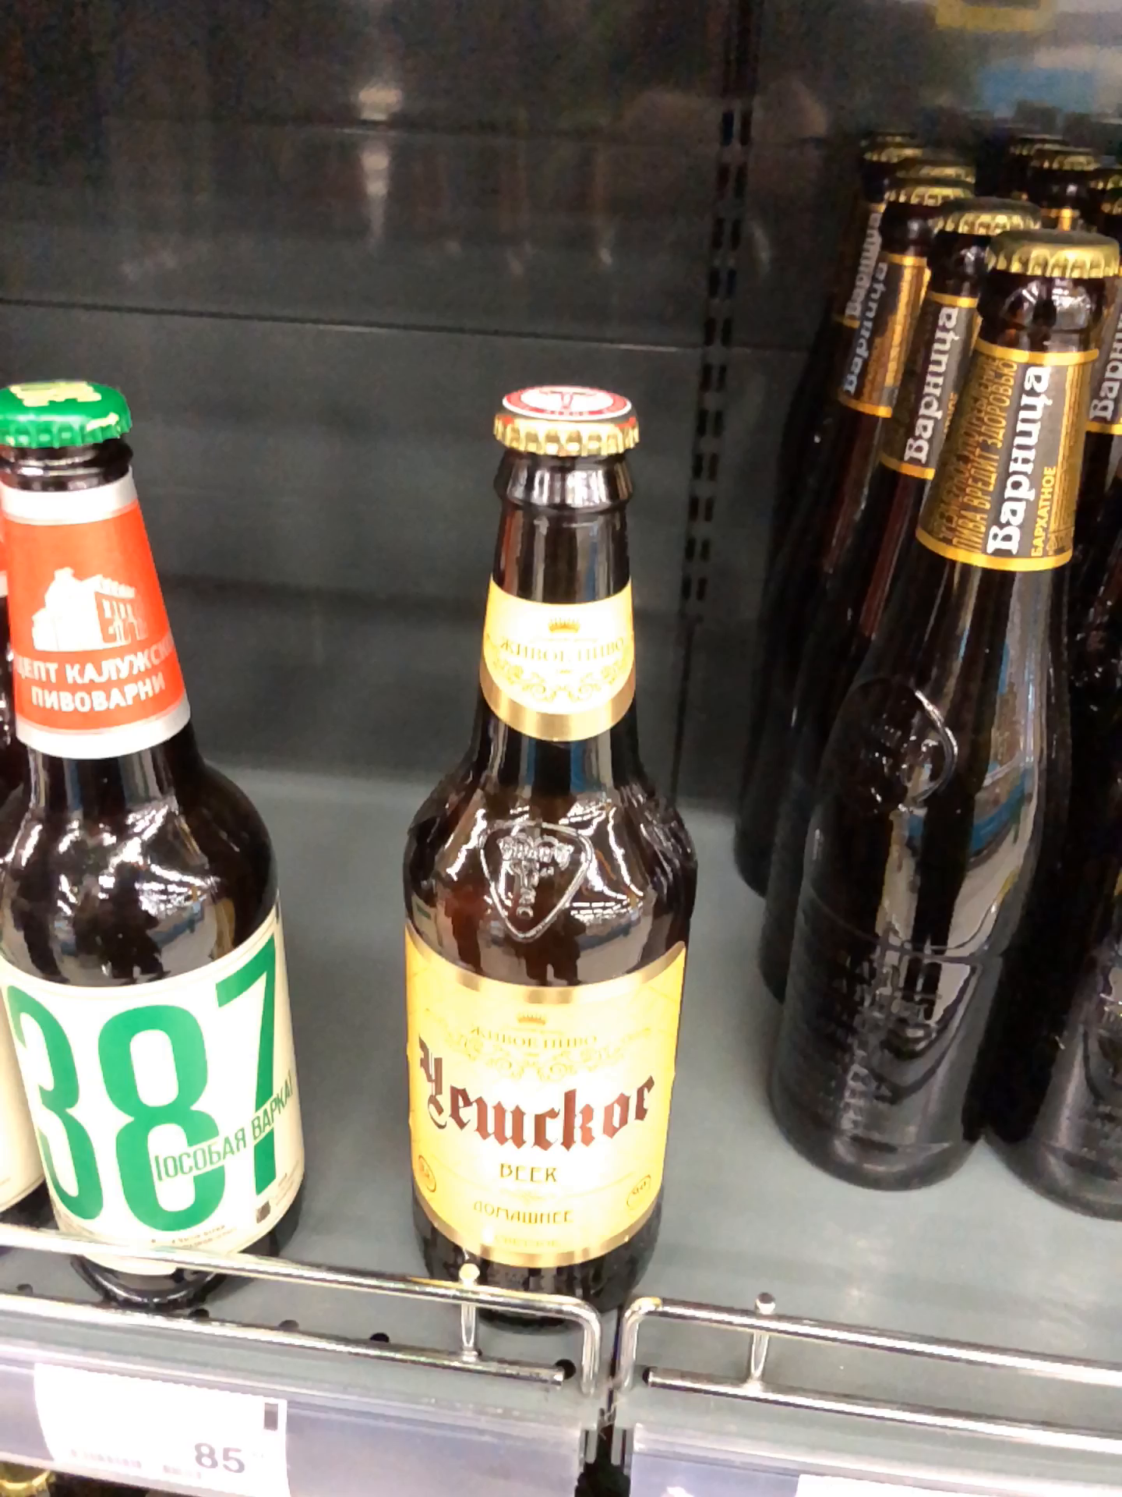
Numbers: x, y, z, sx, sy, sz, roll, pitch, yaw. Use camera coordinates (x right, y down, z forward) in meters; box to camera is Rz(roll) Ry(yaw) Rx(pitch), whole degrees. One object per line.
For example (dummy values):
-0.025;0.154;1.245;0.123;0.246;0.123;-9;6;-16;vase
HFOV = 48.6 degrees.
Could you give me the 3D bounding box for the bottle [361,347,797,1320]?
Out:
0.003;0.030;0.320;0.080;0.239;0.080;1;29;-1;bottle
